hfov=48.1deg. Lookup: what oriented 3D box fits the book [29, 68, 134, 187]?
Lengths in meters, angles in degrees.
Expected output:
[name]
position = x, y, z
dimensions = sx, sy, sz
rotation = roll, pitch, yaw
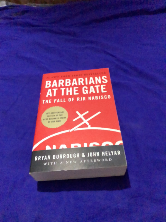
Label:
[book]
position = -0.005, 0.016, 0.332
dimensions = 0.140, 0.050, 0.211
rotation = -3, 52, 1
